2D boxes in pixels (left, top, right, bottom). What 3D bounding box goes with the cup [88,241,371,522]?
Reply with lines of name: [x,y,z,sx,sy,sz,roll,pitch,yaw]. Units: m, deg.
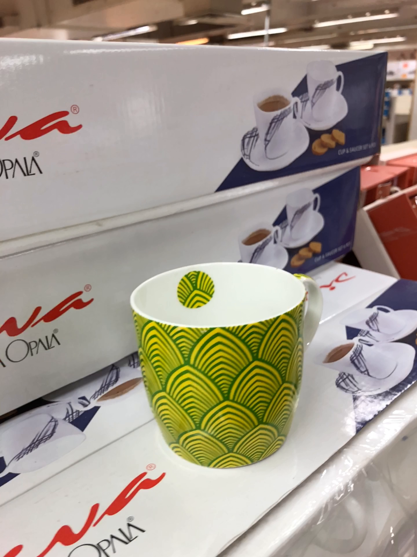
cup: [0.017,0.039,0.254,0.090,0.080,0.121,15,27,41]
